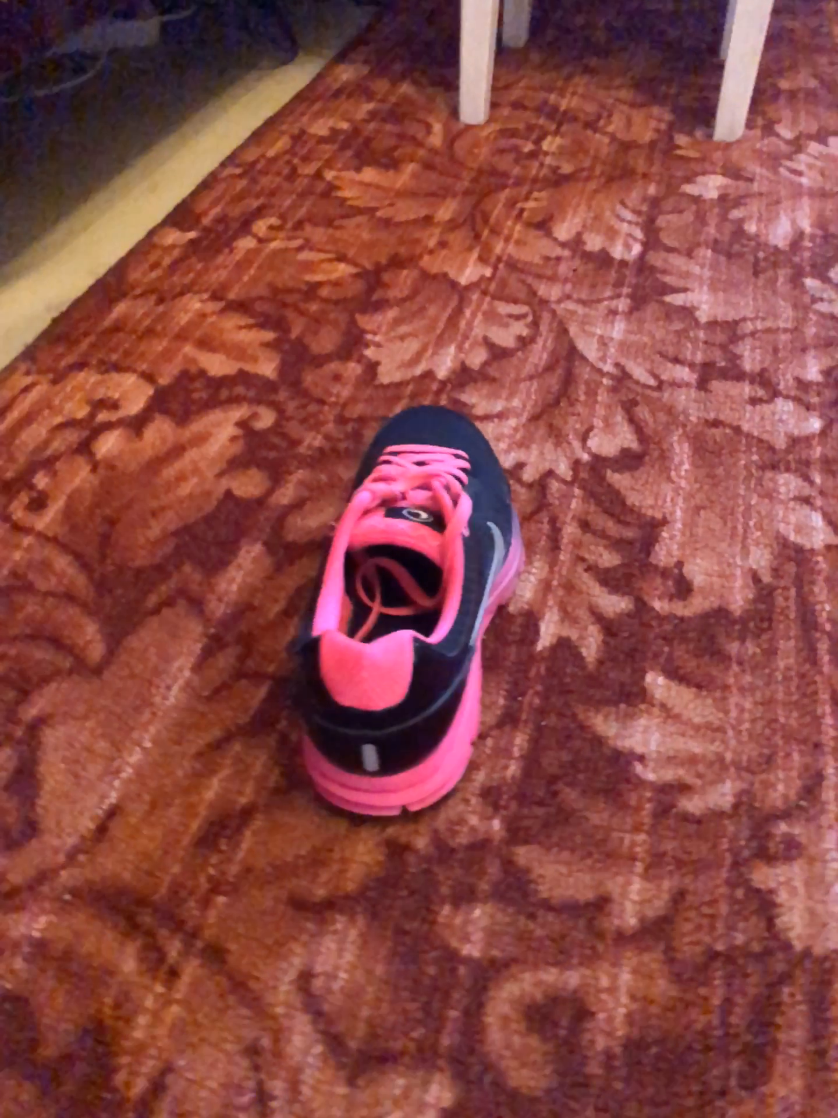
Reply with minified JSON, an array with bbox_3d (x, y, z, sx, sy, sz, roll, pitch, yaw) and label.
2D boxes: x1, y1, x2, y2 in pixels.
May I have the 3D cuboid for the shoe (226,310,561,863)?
[{"bbox_3d":[0.004,-0.003,0.433,0.100,0.110,0.241,6,45,8],"label":"shoe"}]
